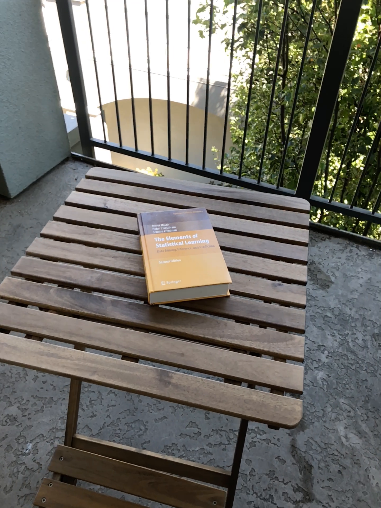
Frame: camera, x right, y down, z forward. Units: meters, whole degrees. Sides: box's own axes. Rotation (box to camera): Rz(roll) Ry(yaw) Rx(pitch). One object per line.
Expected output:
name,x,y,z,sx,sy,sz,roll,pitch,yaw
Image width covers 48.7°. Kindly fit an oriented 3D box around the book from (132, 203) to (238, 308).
book,-0.021,-0.008,0.877,0.180,0.040,0.251,-6,44,-8
